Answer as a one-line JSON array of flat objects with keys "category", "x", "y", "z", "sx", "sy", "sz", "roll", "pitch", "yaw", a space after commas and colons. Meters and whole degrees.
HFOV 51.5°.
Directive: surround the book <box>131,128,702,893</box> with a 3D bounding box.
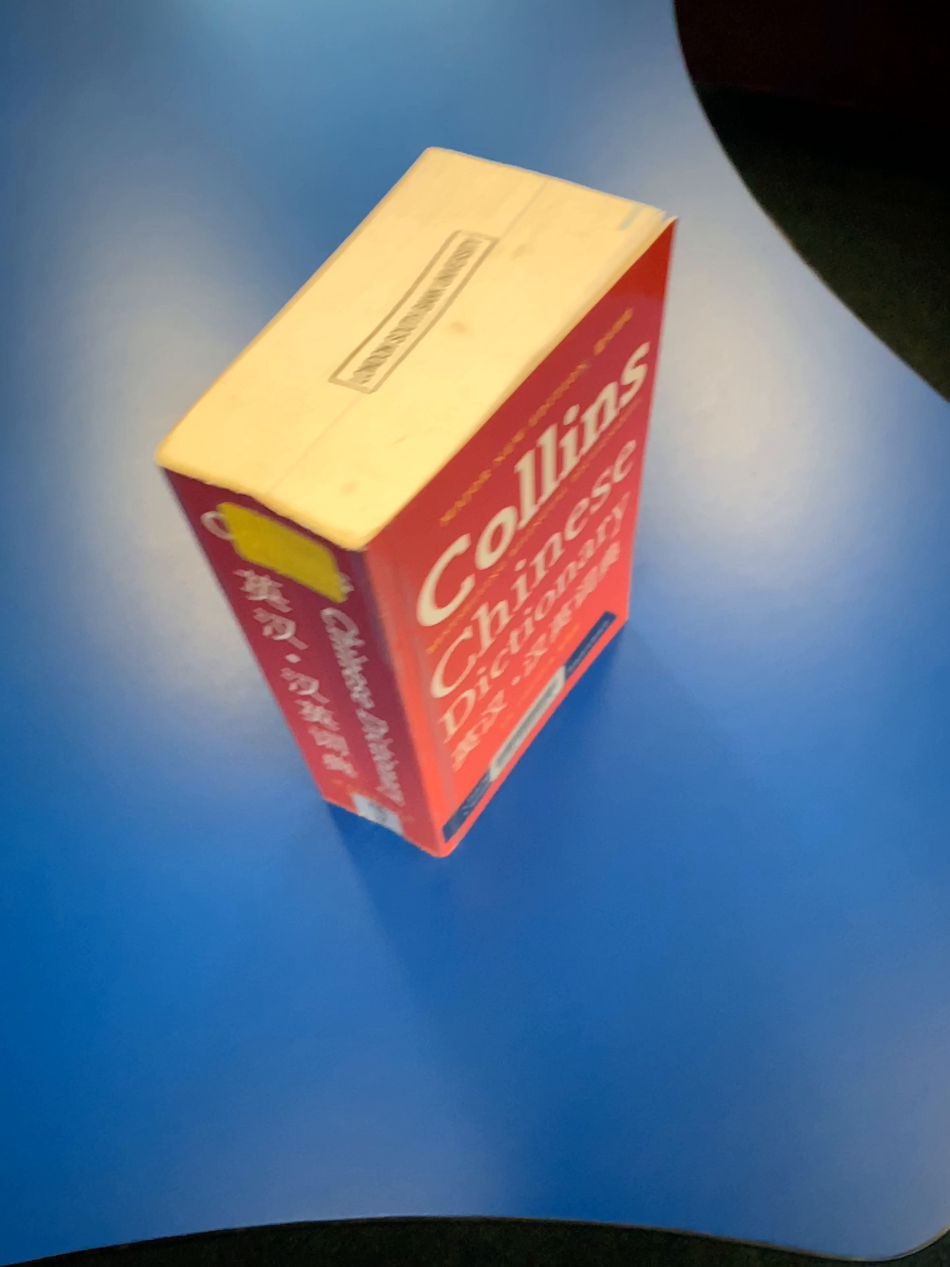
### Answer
[{"category": "book", "x": -0.004, "y": -0.024, "z": 0.324, "sx": 0.080, "sy": 0.199, "sz": 0.141, "roll": 23, "pitch": 62, "yaw": 16}]
